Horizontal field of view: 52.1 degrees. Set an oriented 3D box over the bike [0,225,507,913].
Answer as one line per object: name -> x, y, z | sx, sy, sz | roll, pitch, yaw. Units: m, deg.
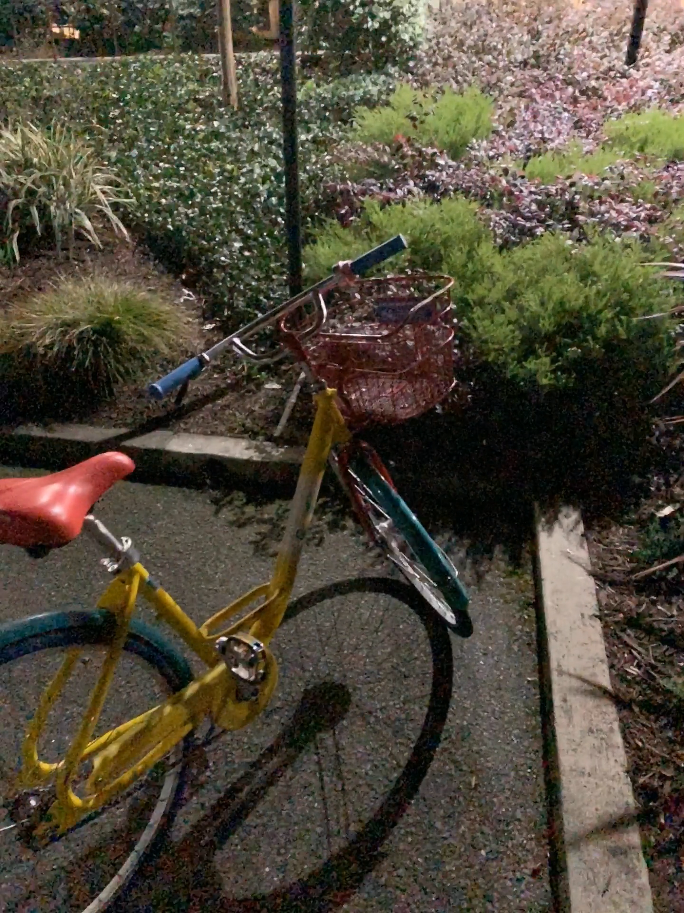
bike -> -0.288, 0.206, 1.457 | 0.601, 1.086, 1.586 | 17, 31, 27
